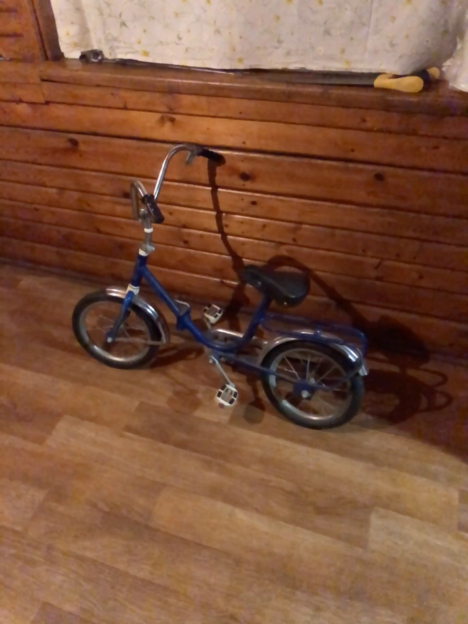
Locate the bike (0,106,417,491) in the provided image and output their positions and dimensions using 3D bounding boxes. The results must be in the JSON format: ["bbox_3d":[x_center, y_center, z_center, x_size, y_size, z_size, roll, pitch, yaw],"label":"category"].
[{"bbox_3d":[-0.069,-0.075,1.485,0.956,0.697,0.596,14,44,16],"label":"bike"}]
